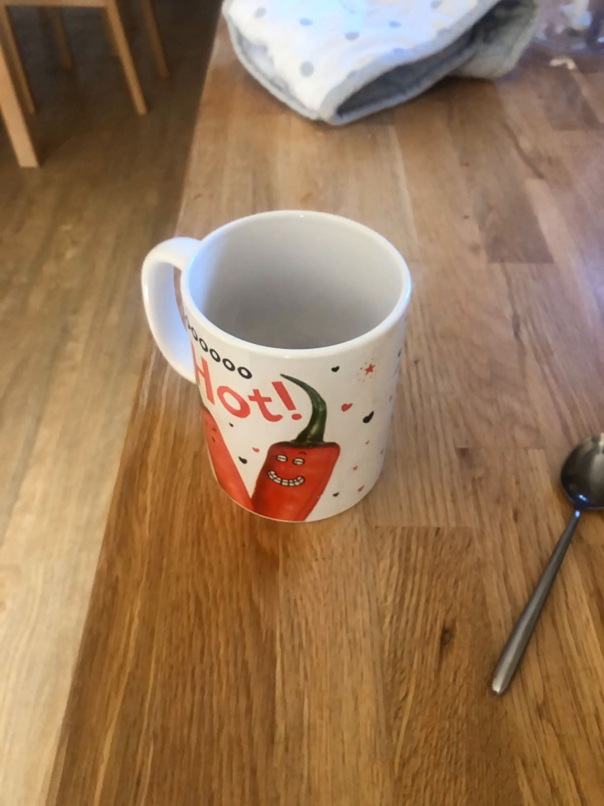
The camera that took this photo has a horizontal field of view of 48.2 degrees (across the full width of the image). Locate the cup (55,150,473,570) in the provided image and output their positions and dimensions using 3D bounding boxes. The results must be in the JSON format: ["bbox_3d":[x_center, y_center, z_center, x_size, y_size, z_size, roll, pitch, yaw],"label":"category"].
[{"bbox_3d":[-0.016,-0.024,0.308,0.136,0.109,0.097,32,56,25],"label":"cup"}]
